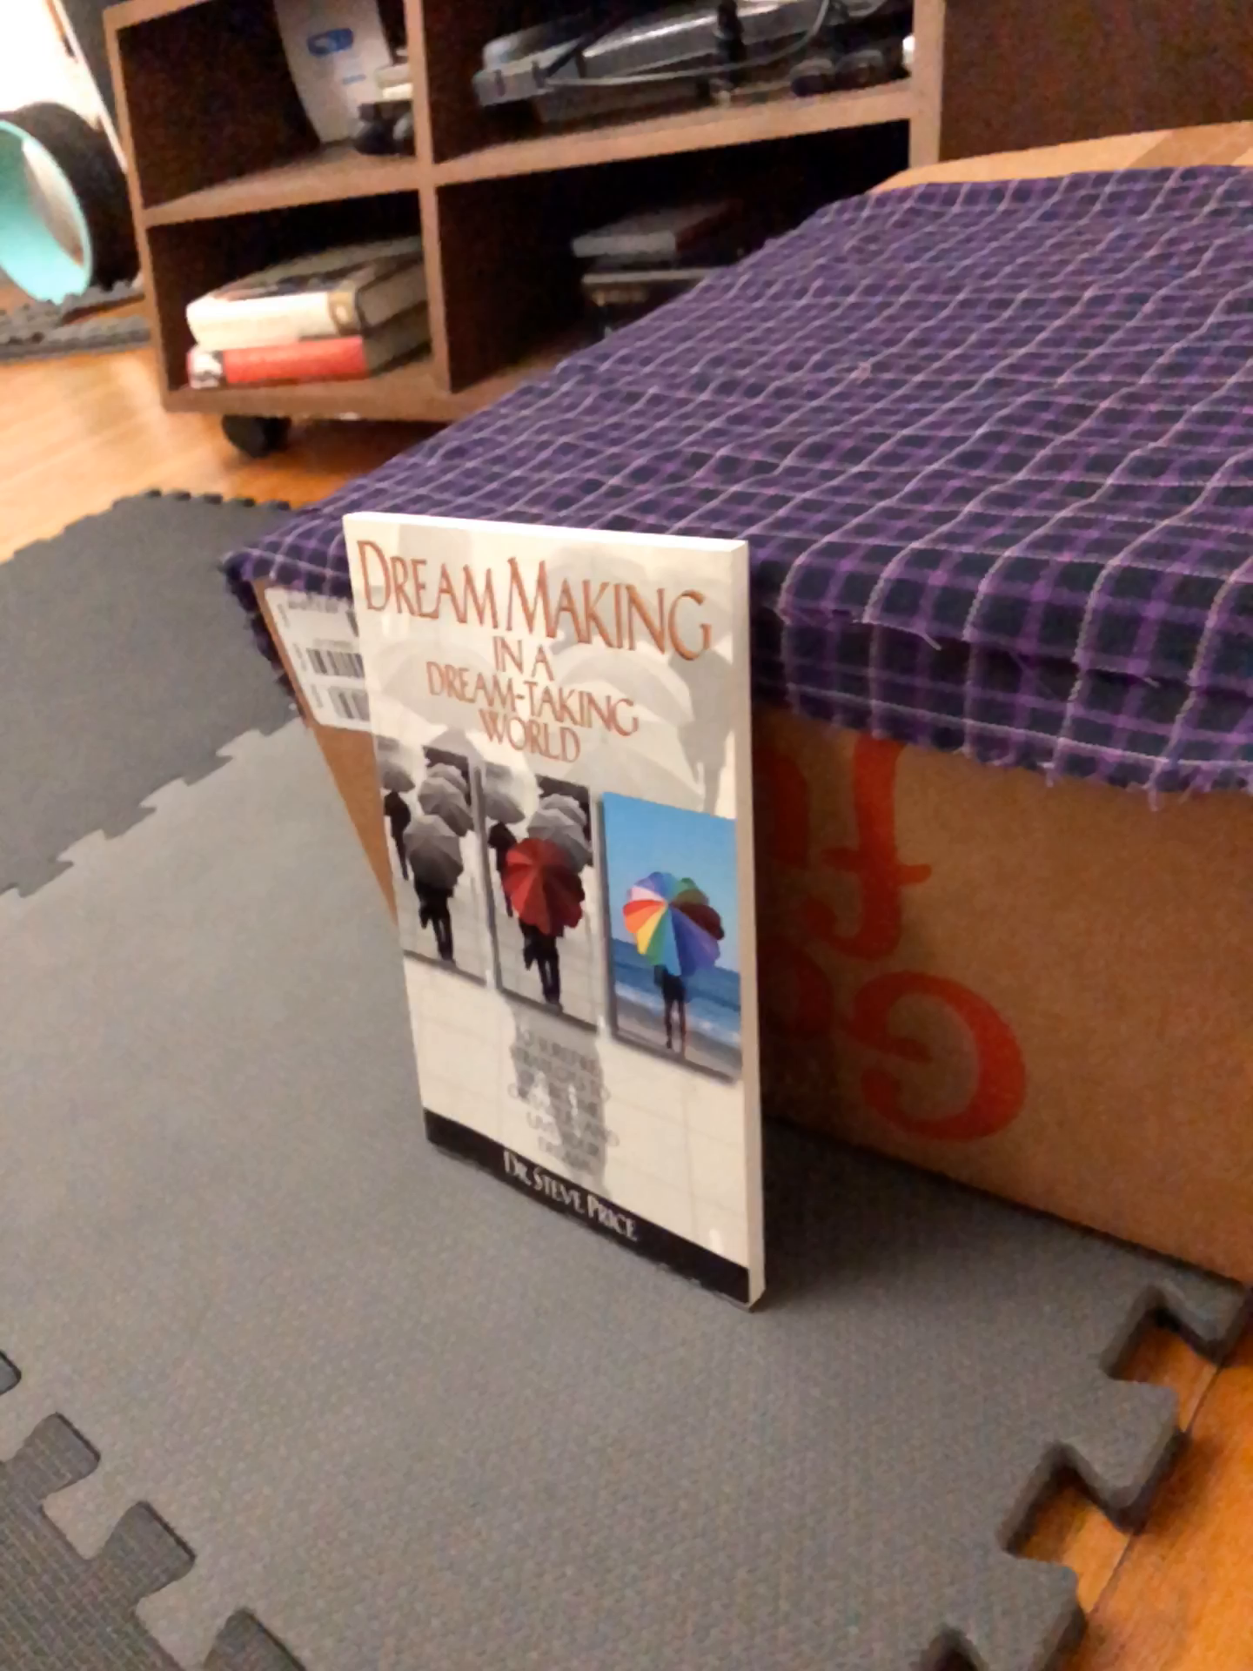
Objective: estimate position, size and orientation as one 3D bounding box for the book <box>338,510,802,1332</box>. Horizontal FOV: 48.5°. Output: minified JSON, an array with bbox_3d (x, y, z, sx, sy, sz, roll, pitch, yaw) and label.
[{"bbox_3d":[-0.018,0.020,0.411,0.150,0.219,0.020,15,28,42],"label":"book"}]
